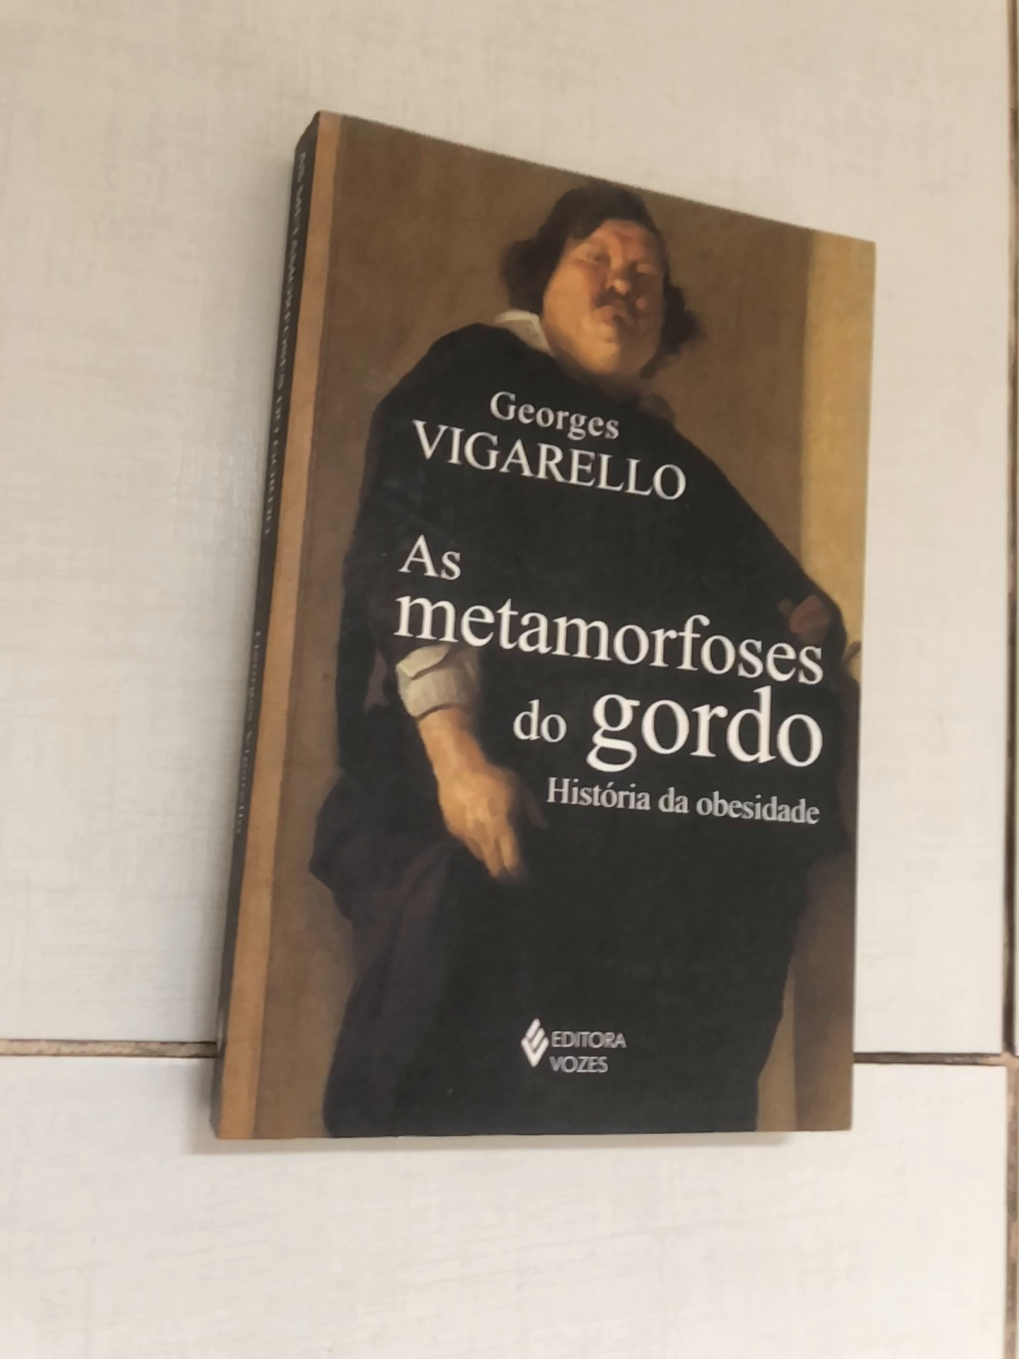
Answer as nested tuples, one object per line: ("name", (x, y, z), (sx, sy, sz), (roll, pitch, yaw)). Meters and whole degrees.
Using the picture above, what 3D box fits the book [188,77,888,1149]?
("book", (0.012, -0.011, 0.243), (0.137, 0.023, 0.204), (6, 83, -16))
